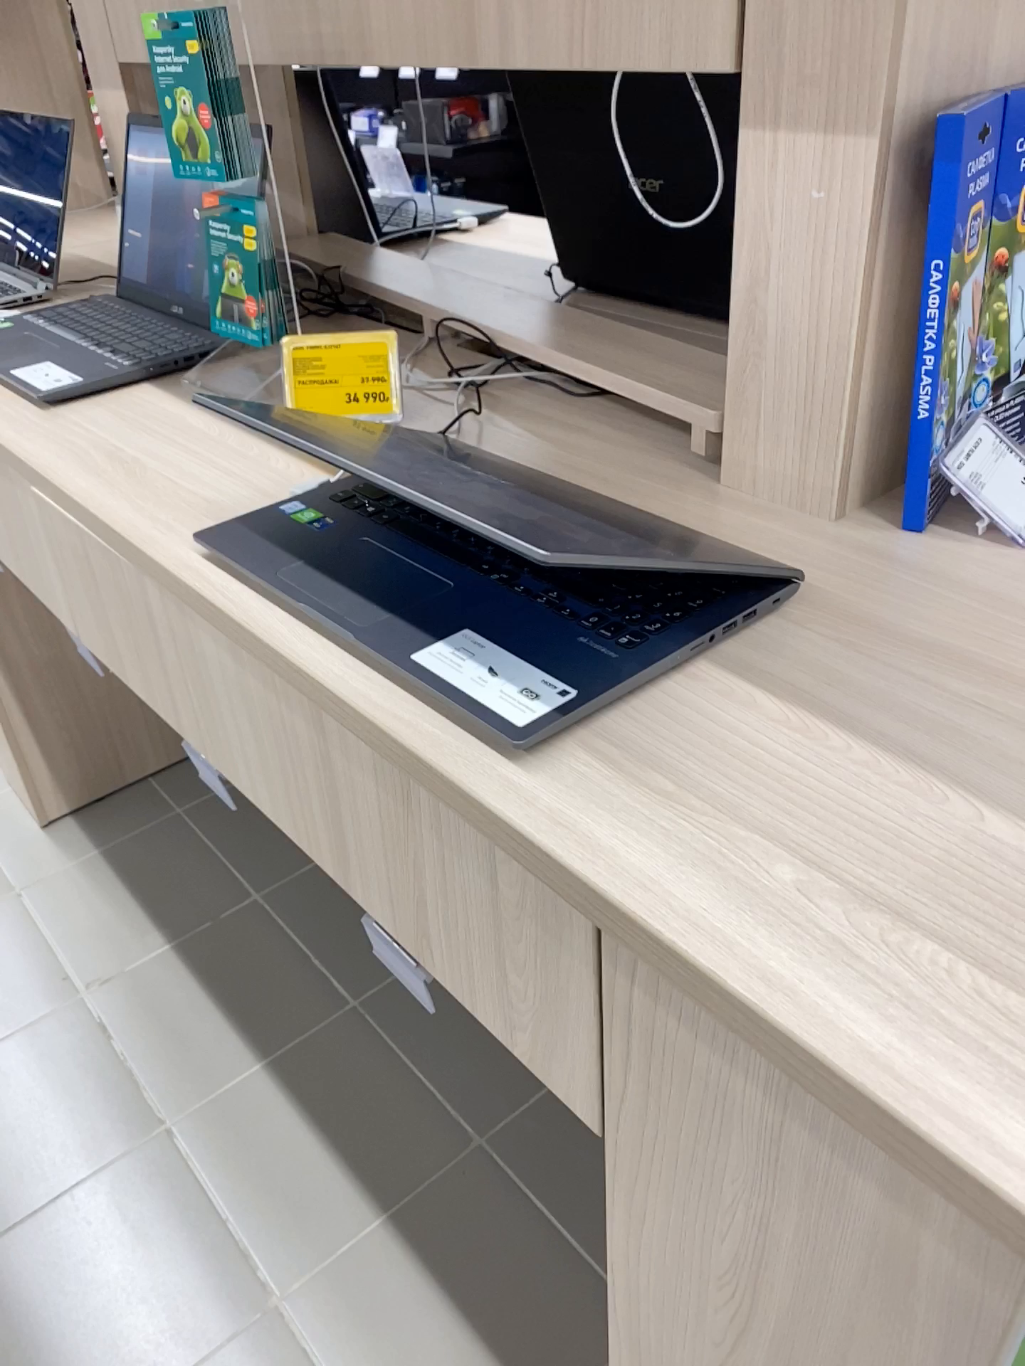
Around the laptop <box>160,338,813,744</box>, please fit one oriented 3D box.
[{"bbox_3d":[-0.030,-0.121,0.674,0.236,0.088,0.354,-28,40,-32],"label":"laptop"}]
